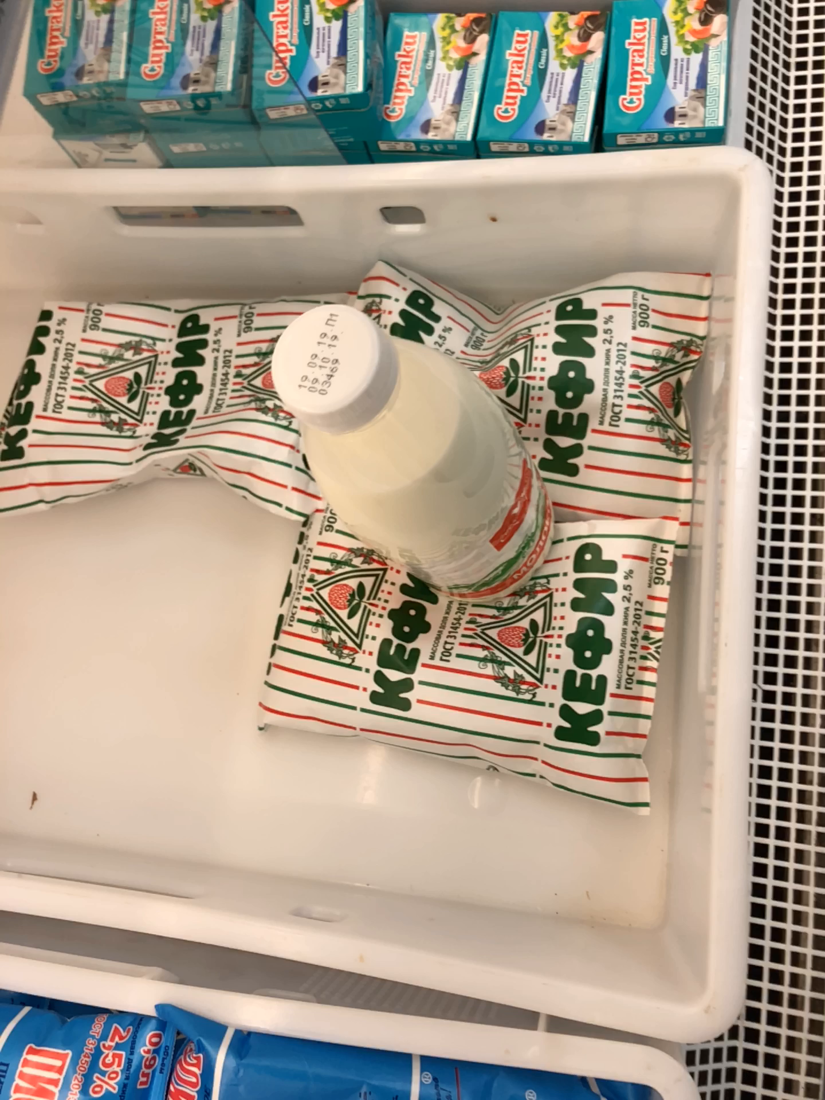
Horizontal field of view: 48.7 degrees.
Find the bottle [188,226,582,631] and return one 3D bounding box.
[{"bbox_3d":[0.008,-0.034,0.394,0.085,0.217,0.085,-4,75,15],"label":"bottle"}]
